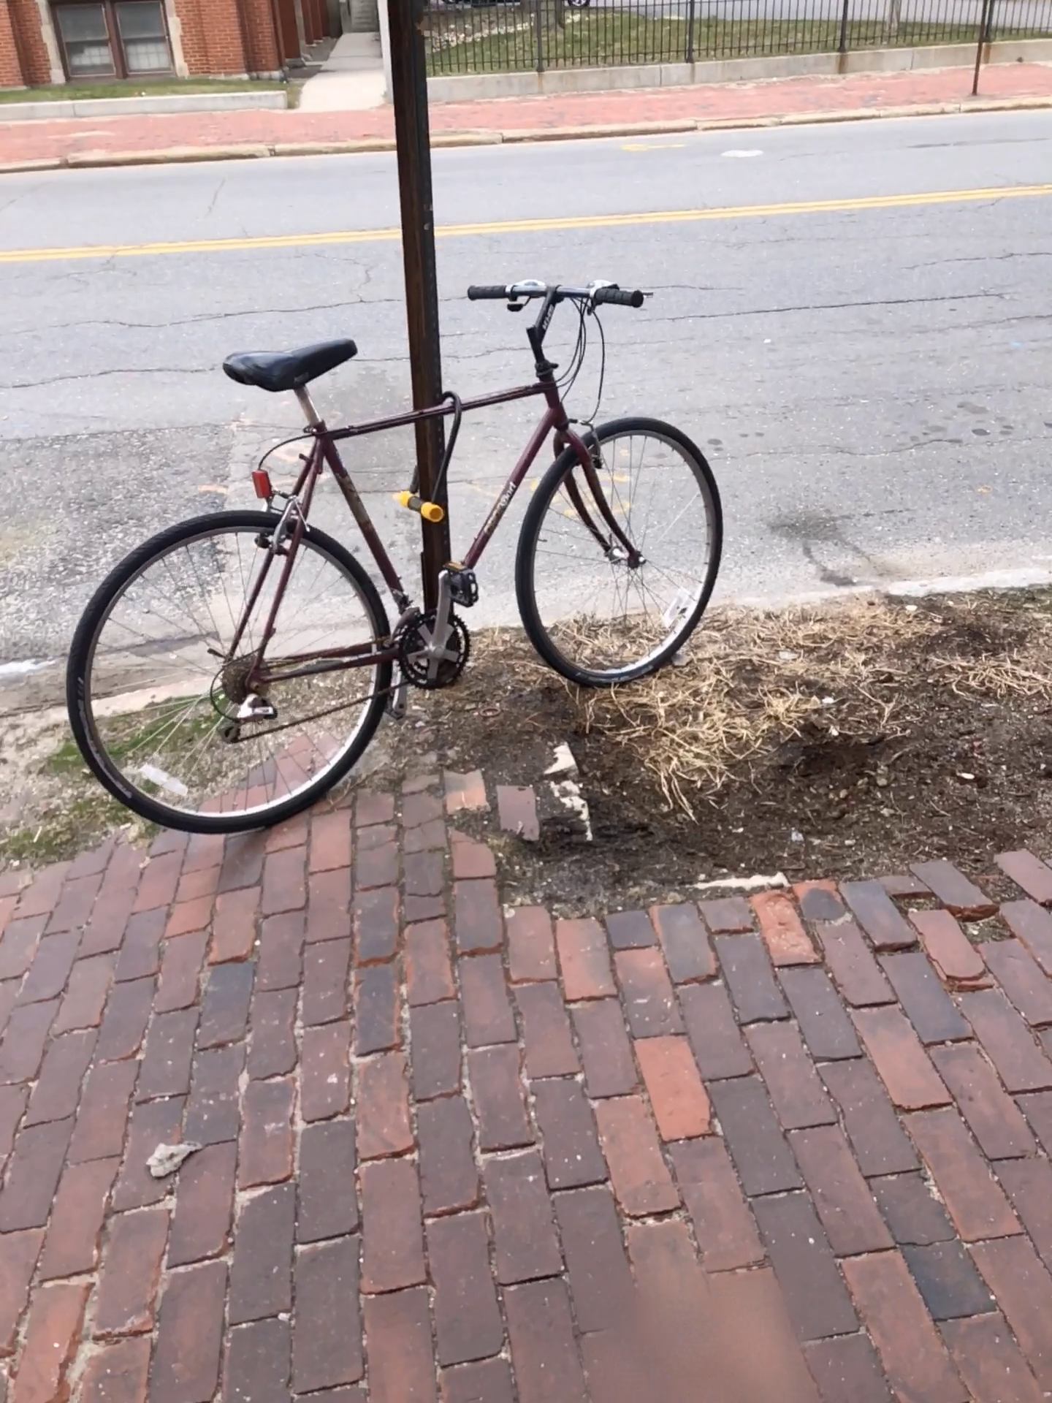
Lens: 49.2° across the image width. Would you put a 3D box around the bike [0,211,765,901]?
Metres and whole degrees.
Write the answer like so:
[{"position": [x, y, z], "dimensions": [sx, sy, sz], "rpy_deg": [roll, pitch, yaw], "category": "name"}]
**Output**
[{"position": [-0.258, -0.444, 2.643], "dimensions": [1.687, 0.962, 0.556], "rpy_deg": [-24, 37, -29], "category": "bike"}]
